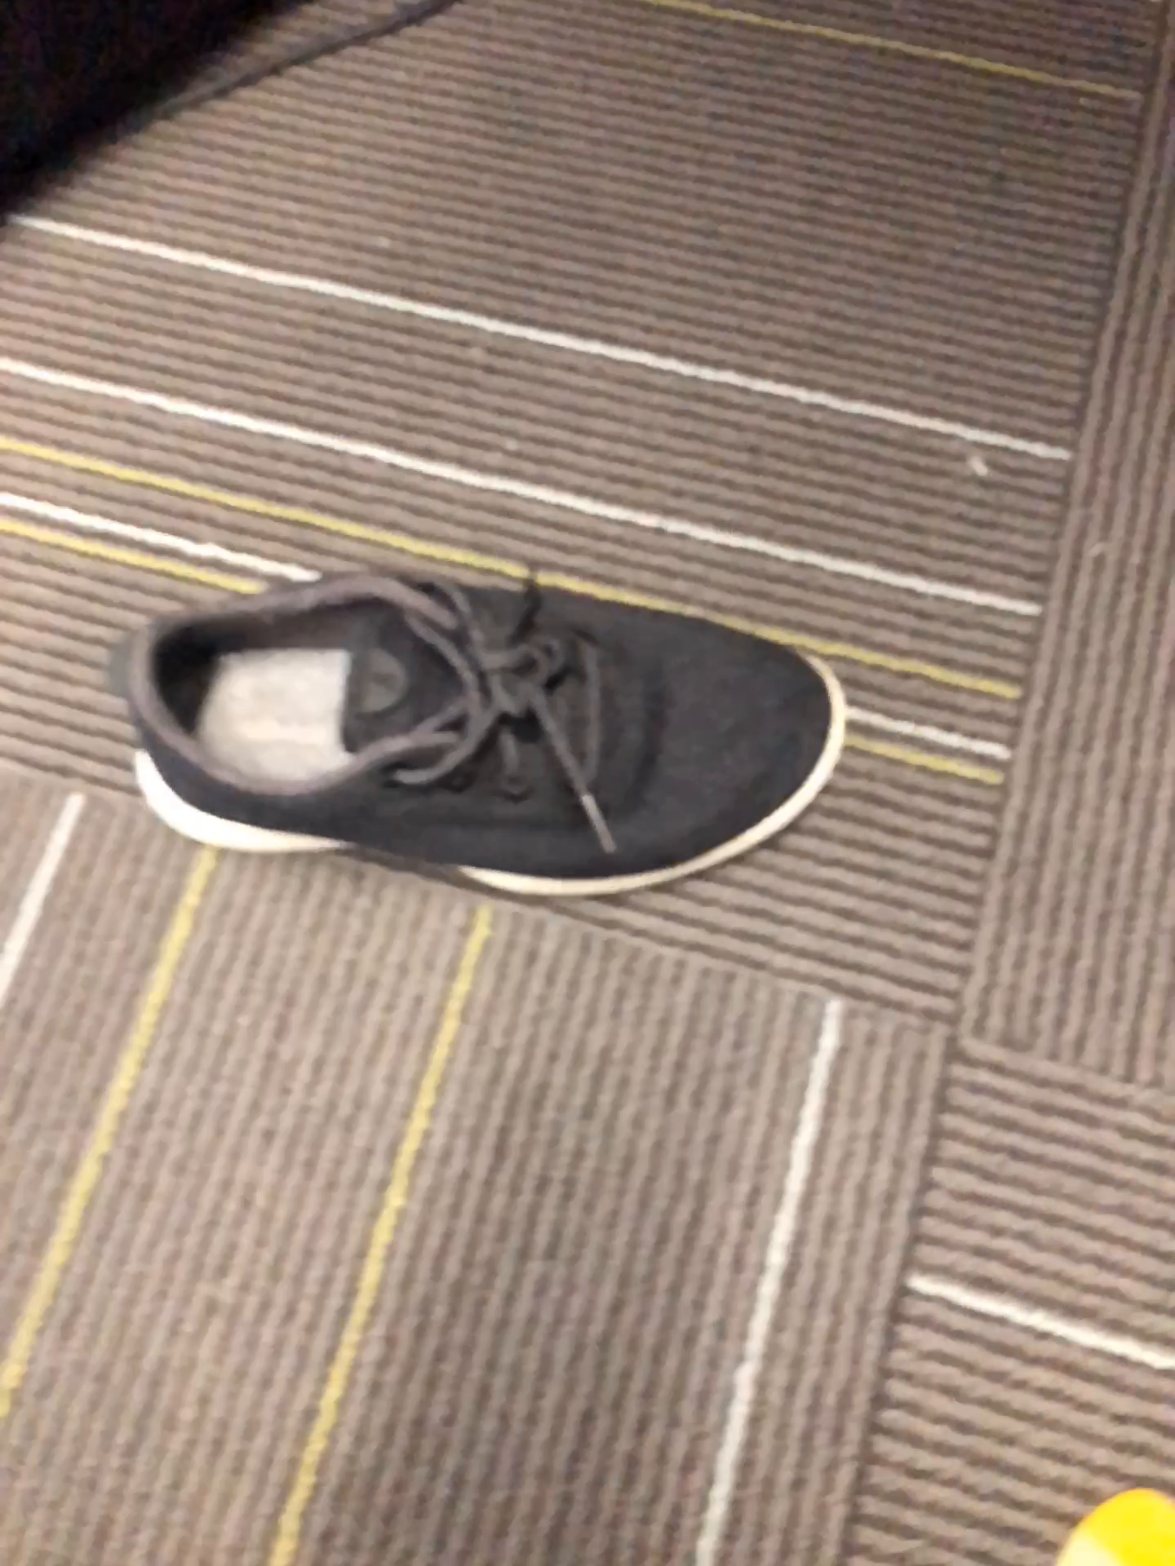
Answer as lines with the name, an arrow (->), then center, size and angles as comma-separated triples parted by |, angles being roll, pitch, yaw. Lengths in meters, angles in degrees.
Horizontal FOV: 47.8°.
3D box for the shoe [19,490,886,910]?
shoe -> -0.040, -0.028, 0.461 | 0.270, 0.070, 0.120 | 2, 72, 3
